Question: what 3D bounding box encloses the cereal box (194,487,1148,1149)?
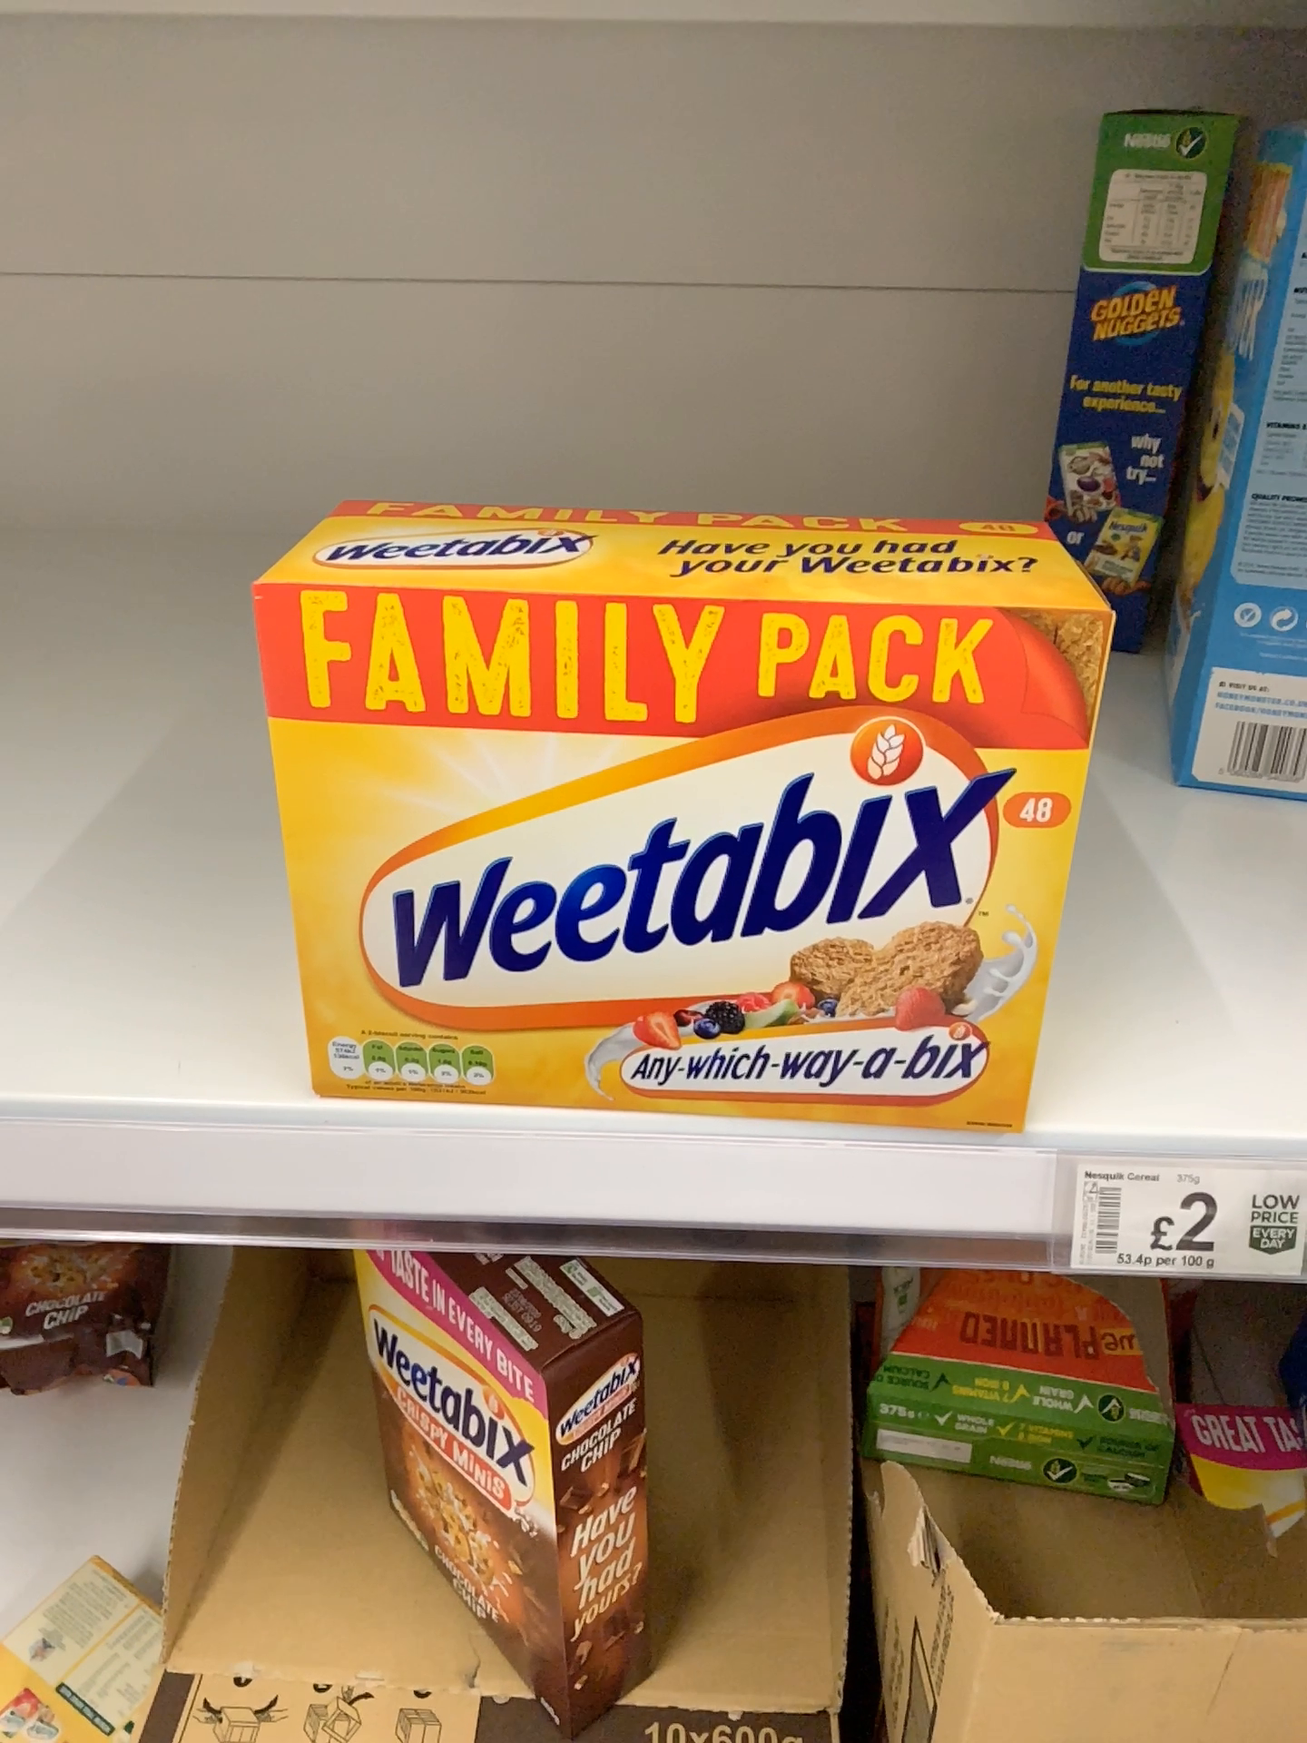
[{"bbox_3d":[0.004,-0.018,0.450,0.260,0.188,0.091,3,29,3],"label":"cereal box"}]
